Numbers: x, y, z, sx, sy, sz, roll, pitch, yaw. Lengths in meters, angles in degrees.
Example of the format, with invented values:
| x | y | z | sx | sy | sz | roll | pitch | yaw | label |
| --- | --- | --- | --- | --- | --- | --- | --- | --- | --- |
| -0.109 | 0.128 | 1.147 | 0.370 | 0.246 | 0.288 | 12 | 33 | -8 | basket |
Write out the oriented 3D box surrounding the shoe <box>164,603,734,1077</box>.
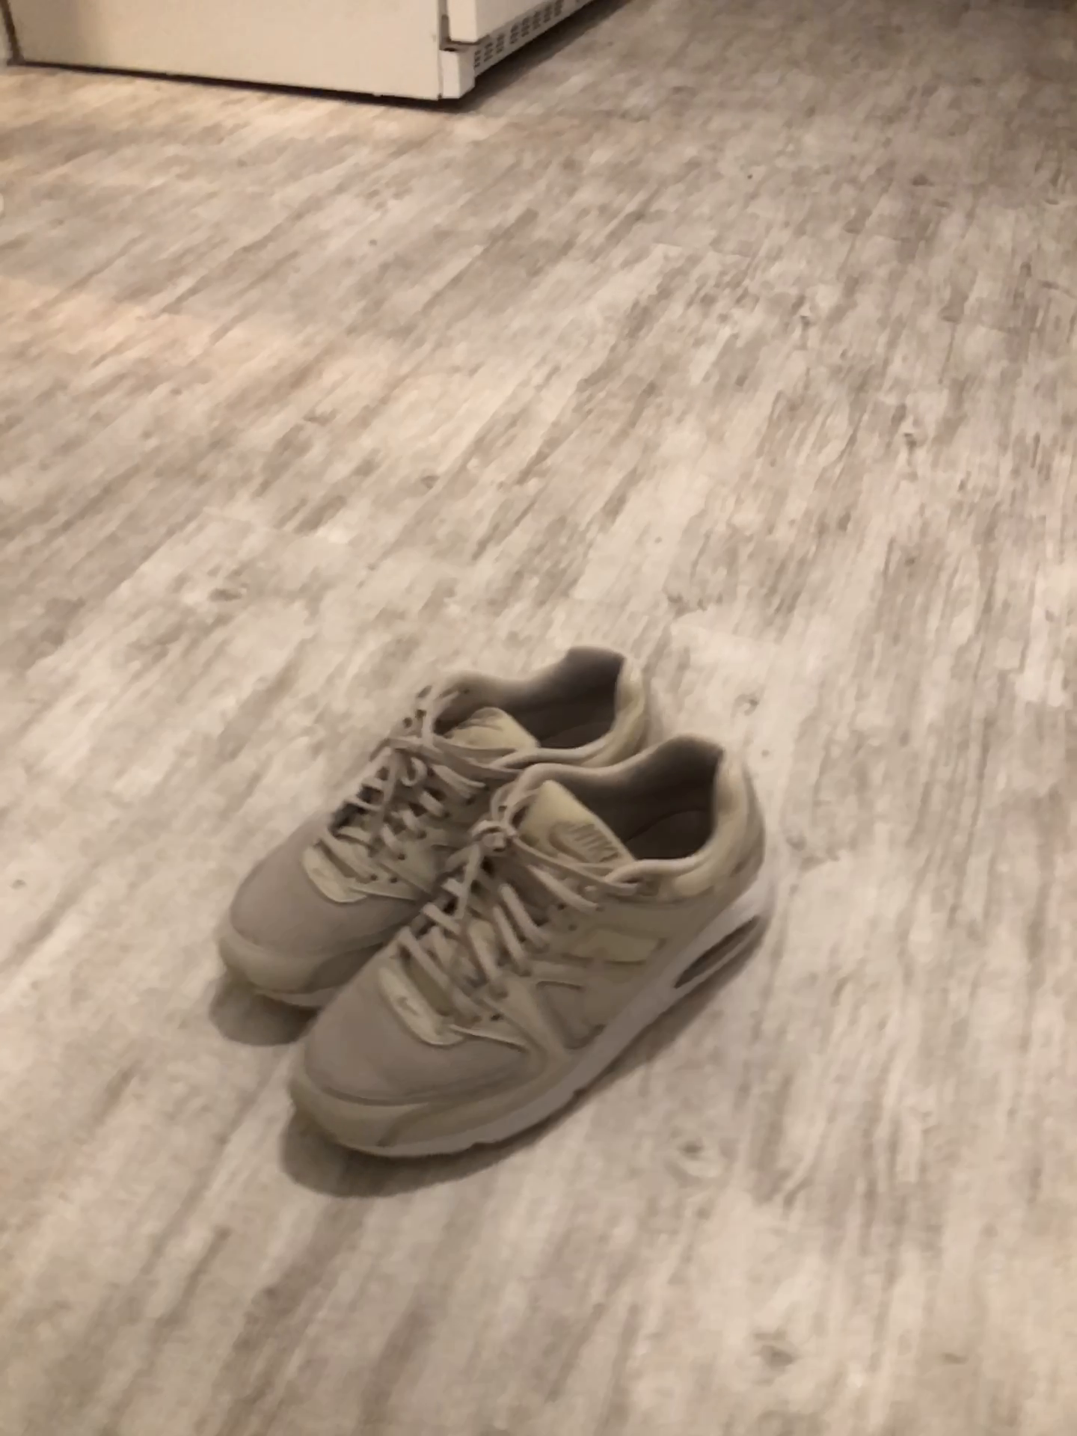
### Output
| x | y | z | sx | sy | sz | roll | pitch | yaw | label |
| --- | --- | --- | --- | --- | --- | --- | --- | --- | --- |
| -0.036 | 0.053 | 0.589 | 0.250 | 0.120 | 0.090 | -22 | 46 | -21 | shoe |

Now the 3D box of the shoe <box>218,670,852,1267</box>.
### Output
| x | y | z | sx | sy | sz | roll | pitch | yaw | label |
| --- | --- | --- | --- | --- | --- | --- | --- | --- | --- |
| 0.006 | 0.099 | 0.527 | 0.250 | 0.120 | 0.100 | -27 | 48 | -26 | shoe |
